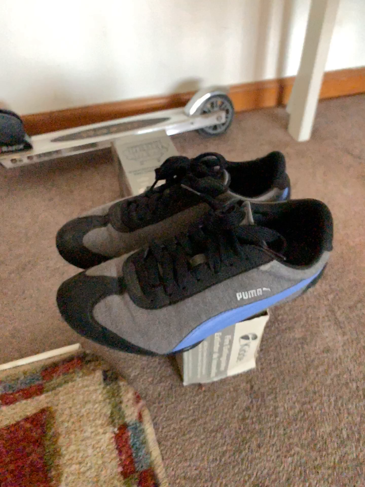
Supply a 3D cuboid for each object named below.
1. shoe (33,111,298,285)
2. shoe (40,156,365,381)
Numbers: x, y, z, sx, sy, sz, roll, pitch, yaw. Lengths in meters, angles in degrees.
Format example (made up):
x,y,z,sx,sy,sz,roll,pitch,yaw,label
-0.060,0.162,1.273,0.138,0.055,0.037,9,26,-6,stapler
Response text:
x,y,z,sx,sy,sz,roll,pitch,yaw,label
-0.019,-0.053,0.388,0.230,0.089,0.101,-14,45,-11,shoe
0.016,0.015,0.331,0.240,0.099,0.101,-14,45,-11,shoe
